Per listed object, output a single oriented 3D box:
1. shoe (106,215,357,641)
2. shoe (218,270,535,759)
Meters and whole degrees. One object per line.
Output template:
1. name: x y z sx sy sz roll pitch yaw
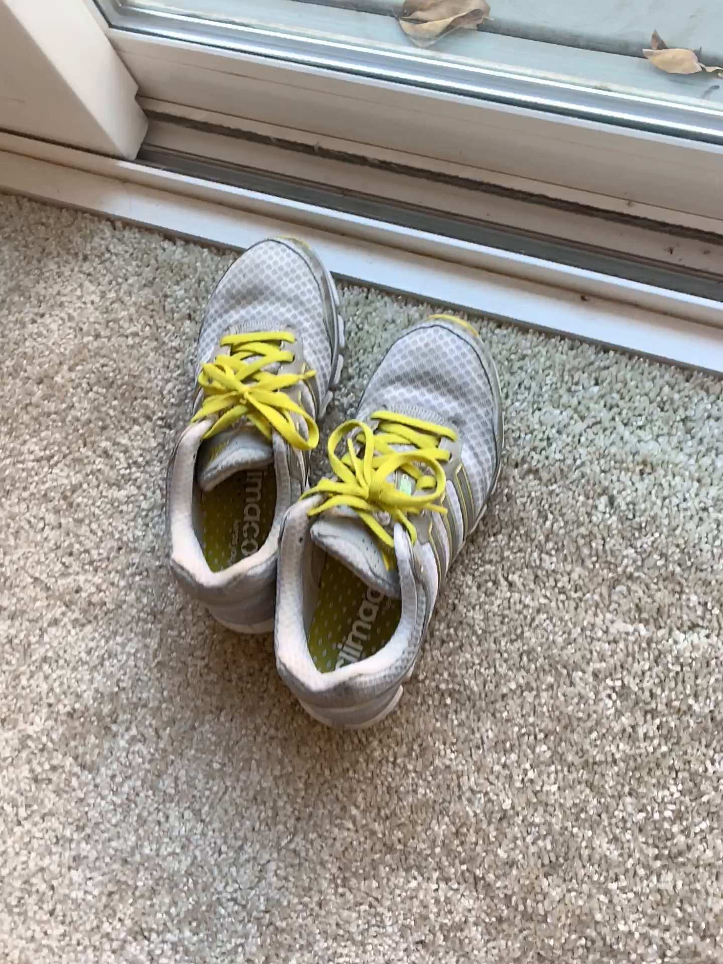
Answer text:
1. shoe: -0.065 -0.032 0.453 0.090 0.100 0.230 6 69 5
2. shoe: 0.015 0.019 0.421 0.090 0.100 0.240 17 72 7
